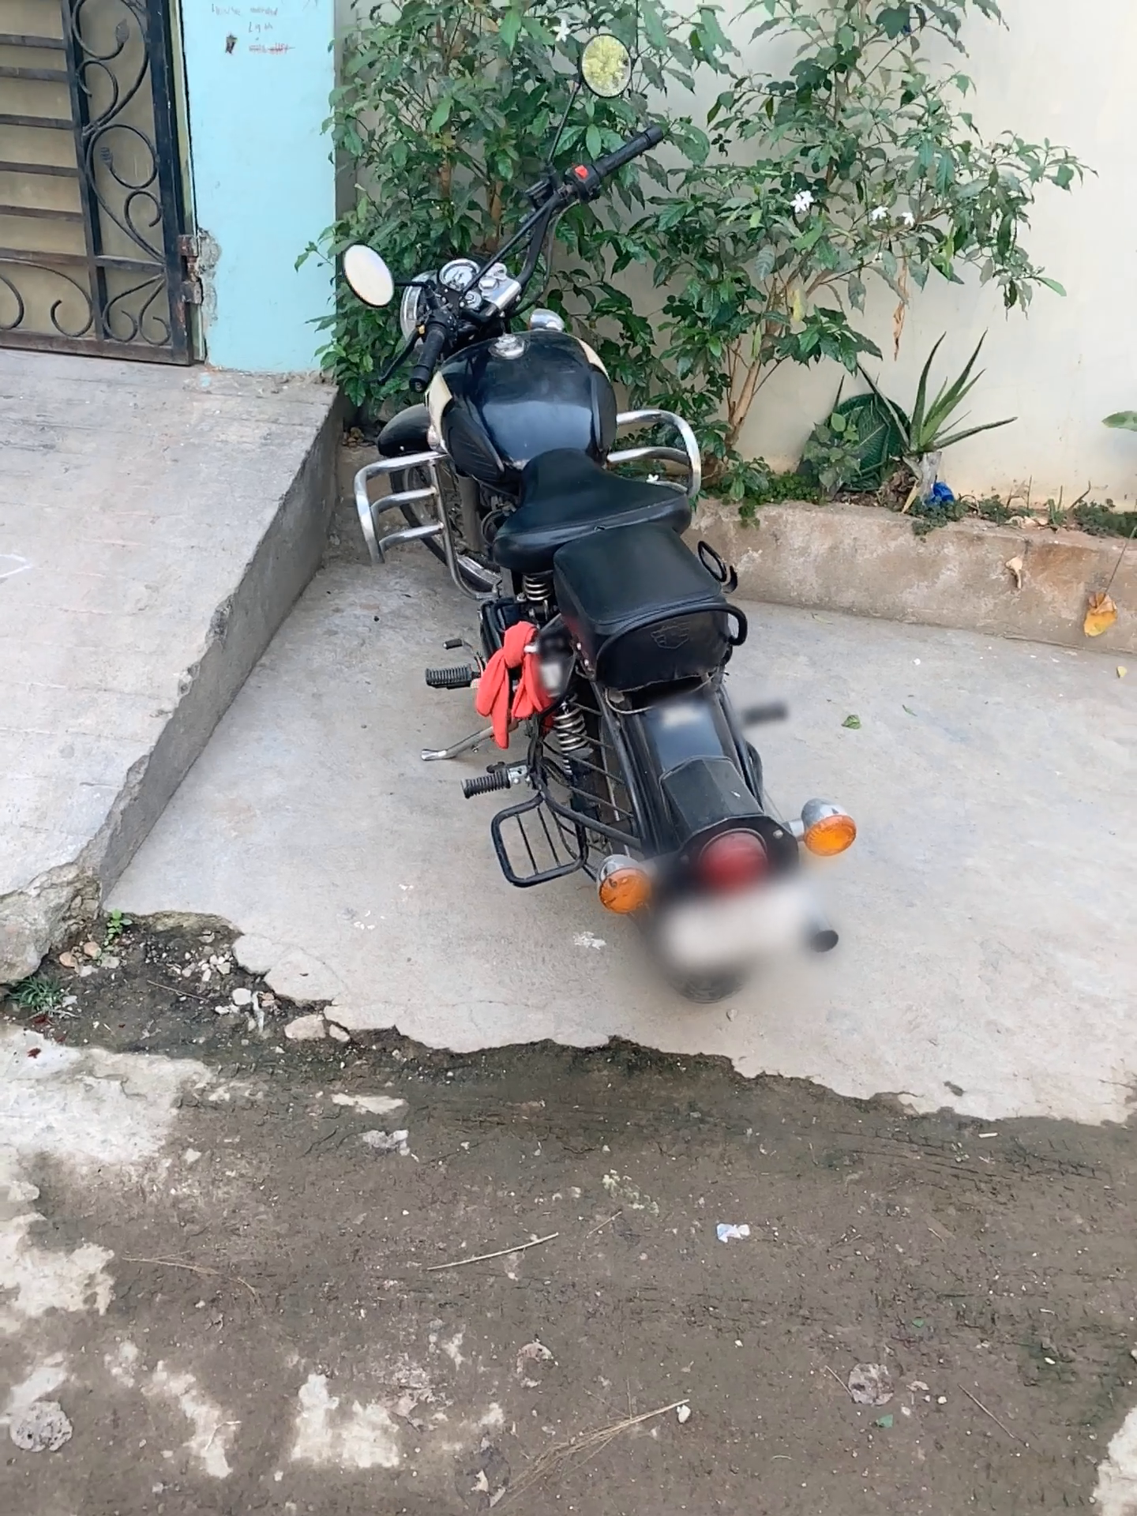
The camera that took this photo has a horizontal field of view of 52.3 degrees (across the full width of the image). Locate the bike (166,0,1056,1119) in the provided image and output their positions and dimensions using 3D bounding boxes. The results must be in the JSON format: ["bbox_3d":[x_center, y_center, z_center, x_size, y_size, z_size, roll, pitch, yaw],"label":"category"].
[{"bbox_3d":[-0.168,-0.628,2.202,0.746,1.340,1.794,-8,38,-23],"label":"bike"}]
